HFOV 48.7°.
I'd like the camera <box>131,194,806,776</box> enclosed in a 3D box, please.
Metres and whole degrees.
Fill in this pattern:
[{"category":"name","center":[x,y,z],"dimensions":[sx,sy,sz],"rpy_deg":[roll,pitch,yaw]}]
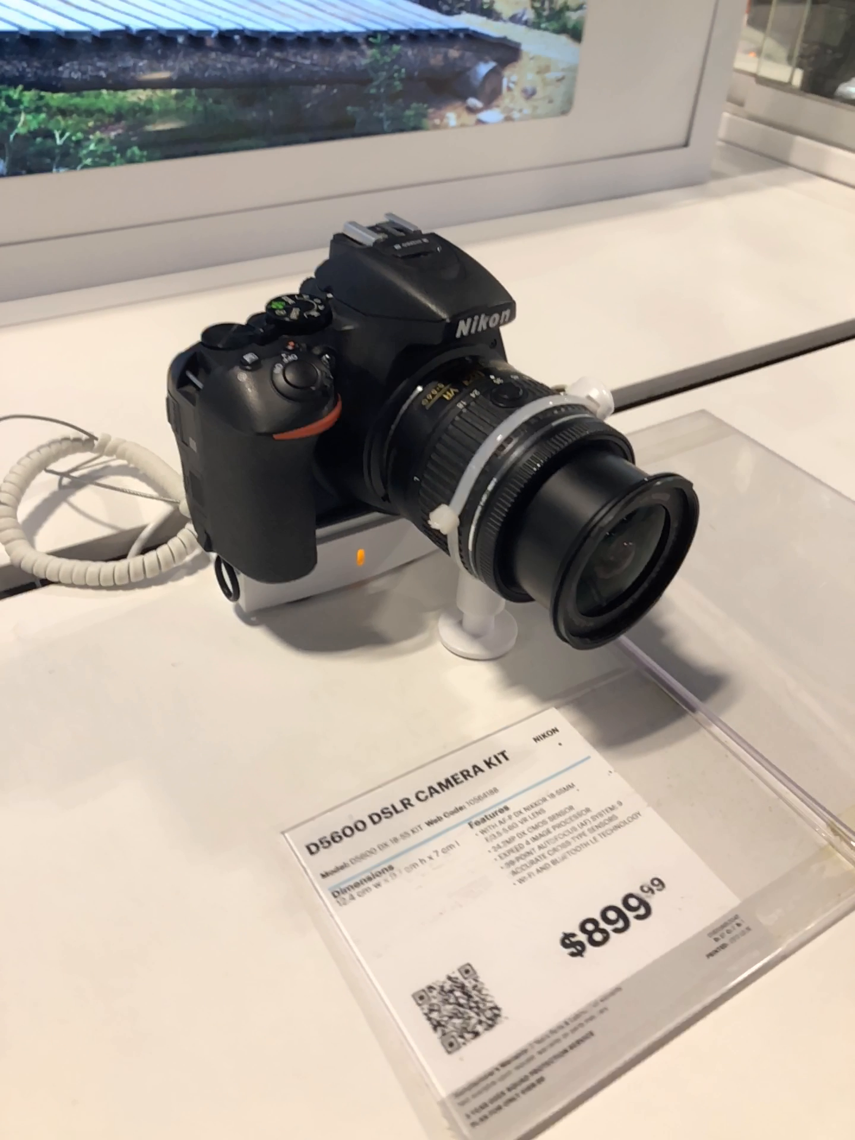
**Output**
[{"category":"camera","center":[0.007,-0.041,0.294],"dimensions":[0.130,0.089,0.141],"rpy_deg":[-25,46,-31]}]
